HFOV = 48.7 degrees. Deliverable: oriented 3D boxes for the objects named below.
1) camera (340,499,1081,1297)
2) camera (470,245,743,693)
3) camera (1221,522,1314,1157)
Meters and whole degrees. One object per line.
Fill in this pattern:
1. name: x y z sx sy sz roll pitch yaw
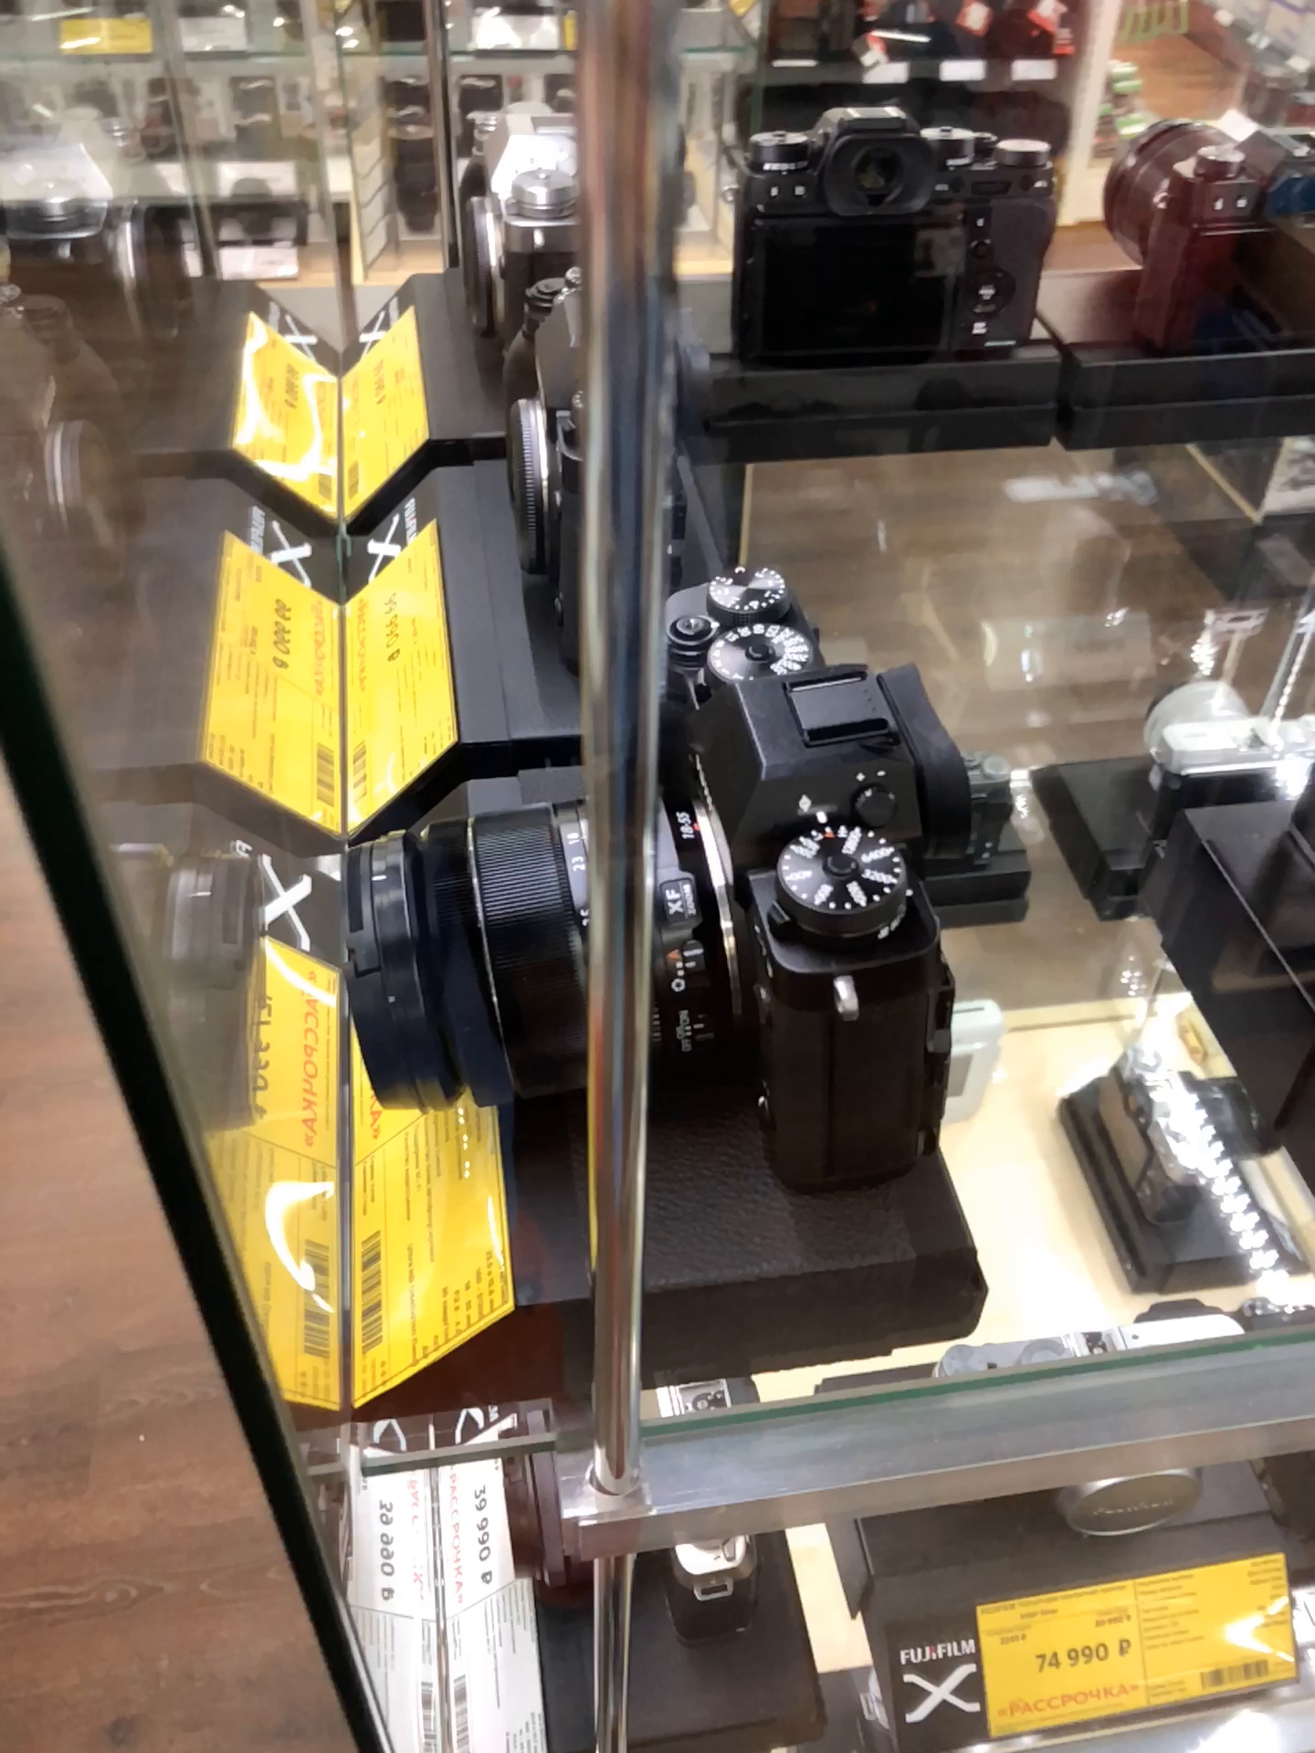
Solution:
1. camera: 0.000 -0.001 0.317 0.119 0.099 0.129 -7 44 -9
2. camera: -0.020 -0.134 0.466 0.066 0.088 0.126 -5 43 -8
3. camera: 0.230 -0.013 0.345 0.125 0.088 0.116 -4 43 -7
